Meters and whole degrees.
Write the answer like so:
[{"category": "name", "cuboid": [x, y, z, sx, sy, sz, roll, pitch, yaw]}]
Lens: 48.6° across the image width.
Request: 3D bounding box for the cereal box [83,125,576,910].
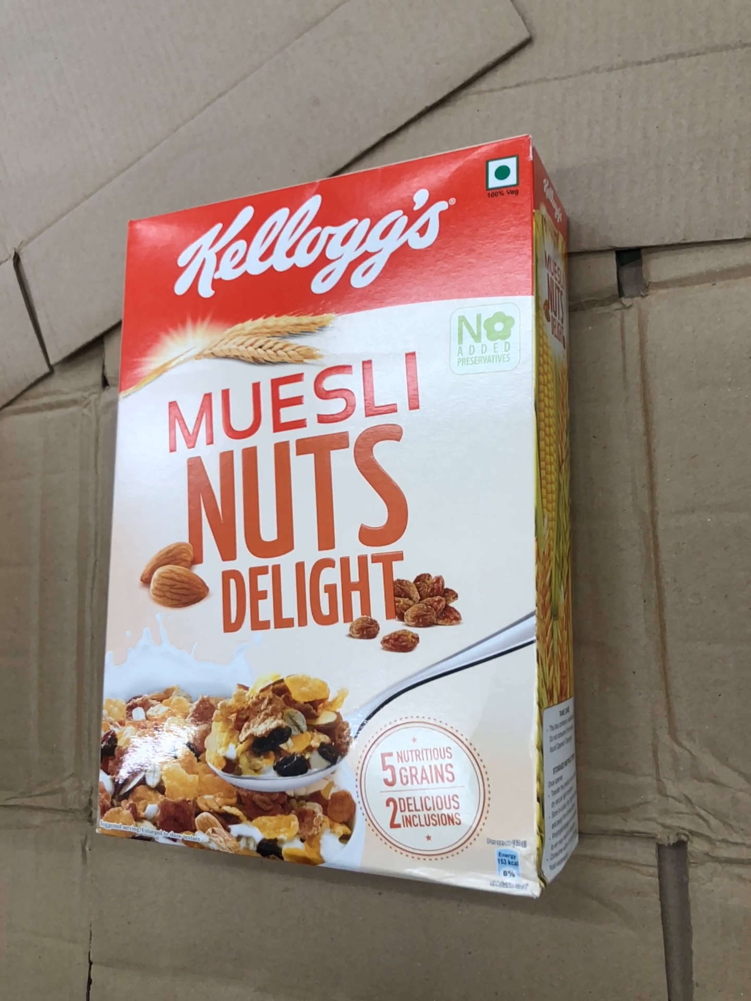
[{"category": "cereal box", "cuboid": [-0.016, 0.005, 0.342, 0.180, 0.070, 0.260, -2, 82, 24]}]
